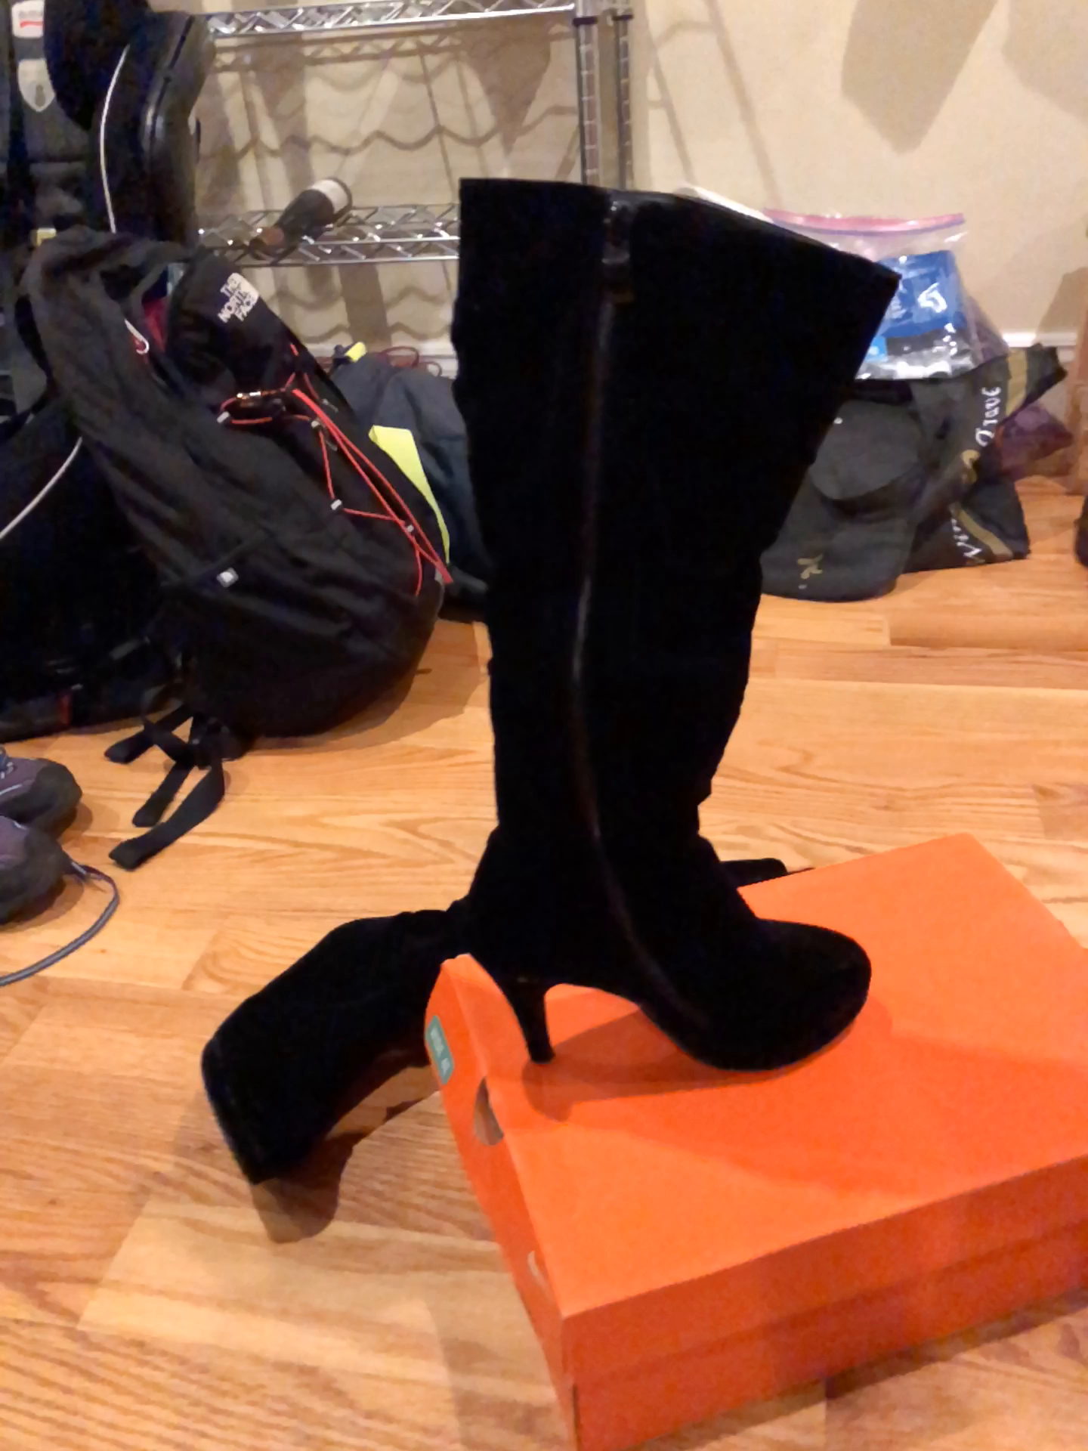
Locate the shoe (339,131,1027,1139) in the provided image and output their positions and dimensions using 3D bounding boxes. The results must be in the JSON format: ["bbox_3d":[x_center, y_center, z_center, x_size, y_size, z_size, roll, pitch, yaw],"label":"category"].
[{"bbox_3d":[0.053,-0.019,0.506,0.216,0.397,0.090,-9,31,-9],"label":"shoe"}]

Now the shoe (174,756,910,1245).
[{"bbox_3d":[-0.011,0.147,0.737,0.399,0.089,0.207,-12,30,-13],"label":"shoe"}]
